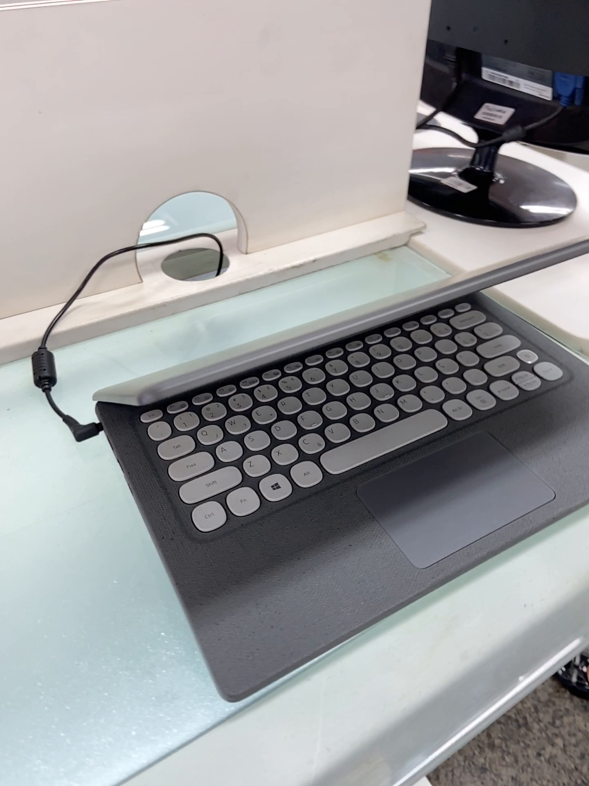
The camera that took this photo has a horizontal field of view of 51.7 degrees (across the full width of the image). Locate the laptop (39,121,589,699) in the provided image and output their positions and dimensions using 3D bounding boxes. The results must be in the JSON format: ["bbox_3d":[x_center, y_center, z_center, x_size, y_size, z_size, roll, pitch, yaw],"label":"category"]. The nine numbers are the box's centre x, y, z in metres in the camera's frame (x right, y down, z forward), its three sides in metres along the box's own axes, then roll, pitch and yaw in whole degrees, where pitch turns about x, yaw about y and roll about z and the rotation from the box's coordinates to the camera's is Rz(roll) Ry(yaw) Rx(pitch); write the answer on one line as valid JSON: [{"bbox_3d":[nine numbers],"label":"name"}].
[{"bbox_3d":[0.058,-0.032,0.345,0.317,0.132,0.212,-20,45,-22],"label":"laptop"}]
